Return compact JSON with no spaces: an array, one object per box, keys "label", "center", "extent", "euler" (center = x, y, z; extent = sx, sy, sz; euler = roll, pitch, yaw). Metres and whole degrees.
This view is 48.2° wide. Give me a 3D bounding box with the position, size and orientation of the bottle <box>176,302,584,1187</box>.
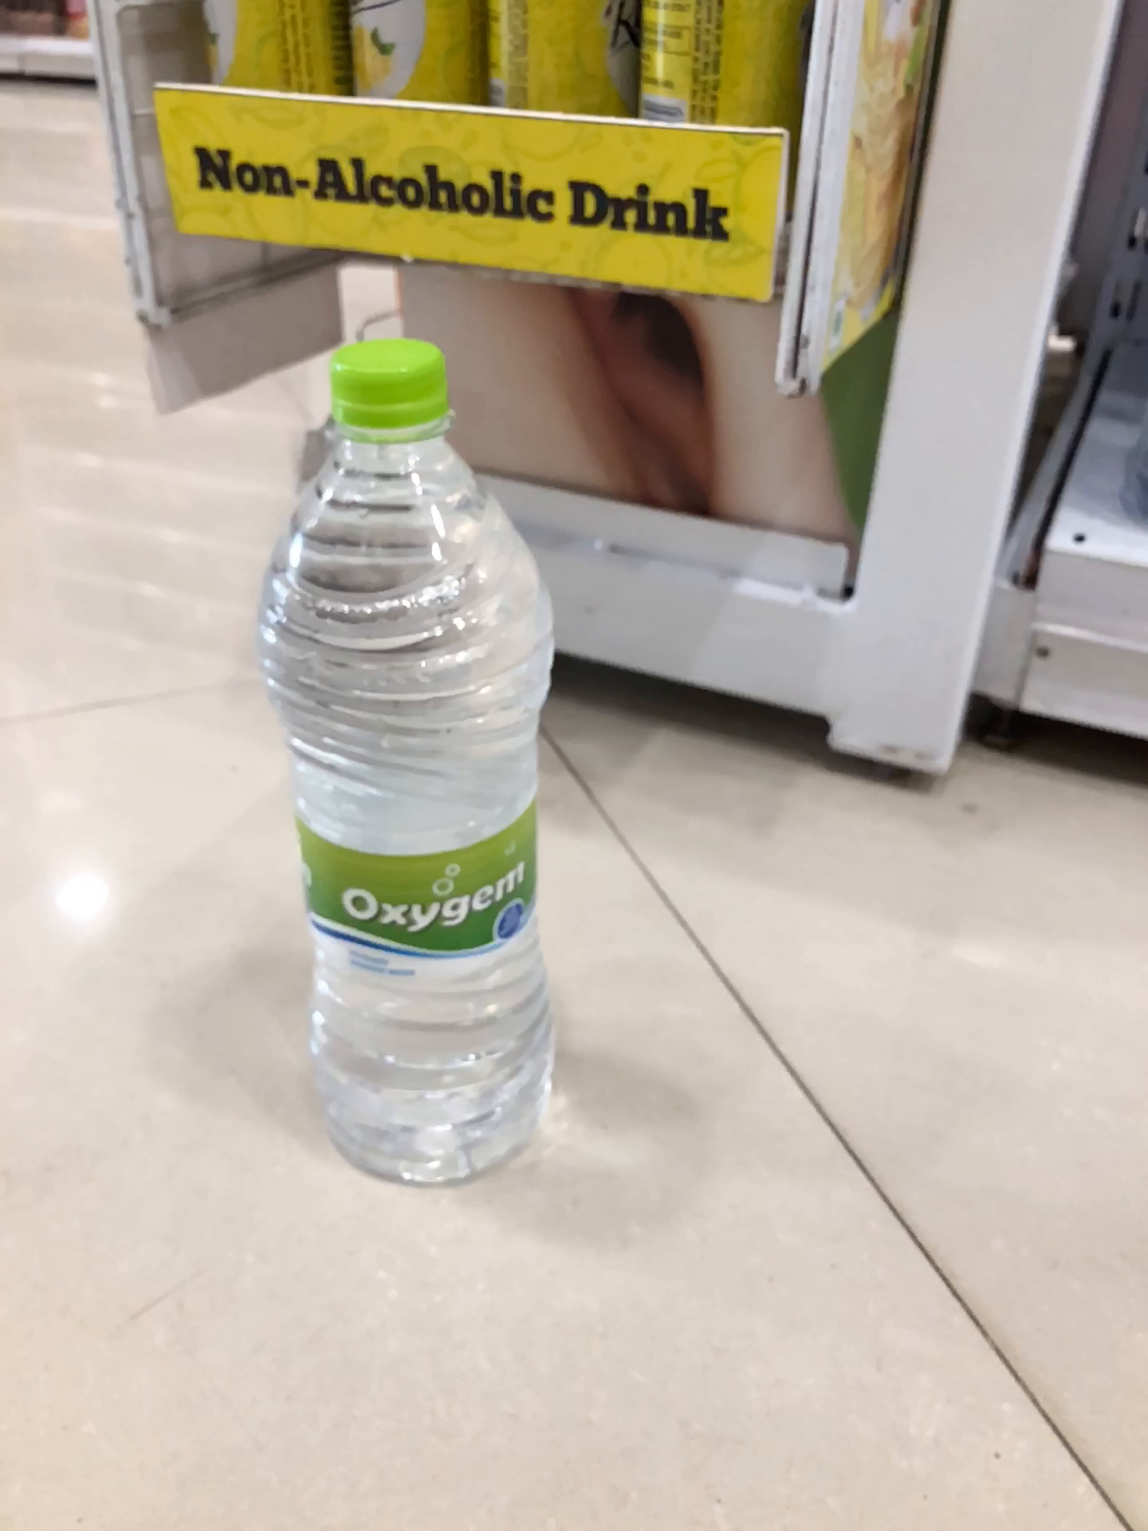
[{"label":"bottle","center":[-0.048,0.005,0.386],"extent":[0.090,0.258,0.081],"euler":[0,31,-4]}]
